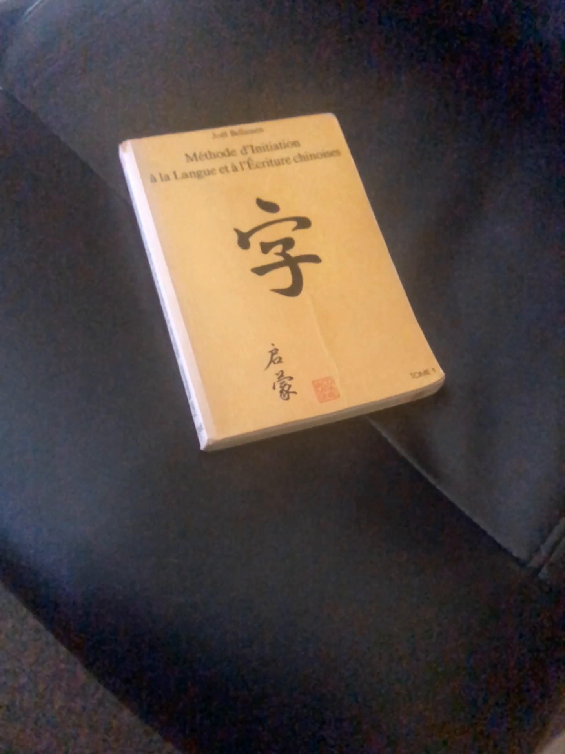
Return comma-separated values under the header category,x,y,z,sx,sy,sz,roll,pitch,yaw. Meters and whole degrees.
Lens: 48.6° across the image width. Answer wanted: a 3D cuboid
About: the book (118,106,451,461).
category,x,y,z,sx,sy,sz,roll,pitch,yaw
book,-0.006,-0.072,0.404,0.152,0.028,0.220,-13,69,-11
